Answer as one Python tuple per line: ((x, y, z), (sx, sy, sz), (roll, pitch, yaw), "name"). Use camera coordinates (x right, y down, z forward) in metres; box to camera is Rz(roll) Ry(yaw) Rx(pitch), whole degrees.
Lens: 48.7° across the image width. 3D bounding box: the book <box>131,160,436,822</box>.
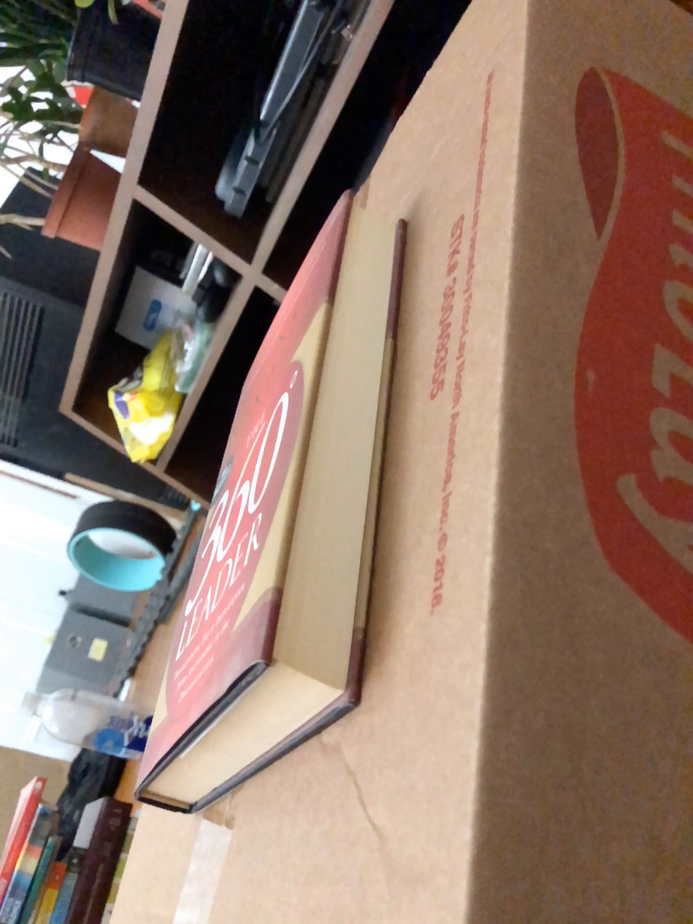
((-0.025, 0.011, 0.337), (0.180, 0.030, 0.241), (-52, 23, 48), "book")
